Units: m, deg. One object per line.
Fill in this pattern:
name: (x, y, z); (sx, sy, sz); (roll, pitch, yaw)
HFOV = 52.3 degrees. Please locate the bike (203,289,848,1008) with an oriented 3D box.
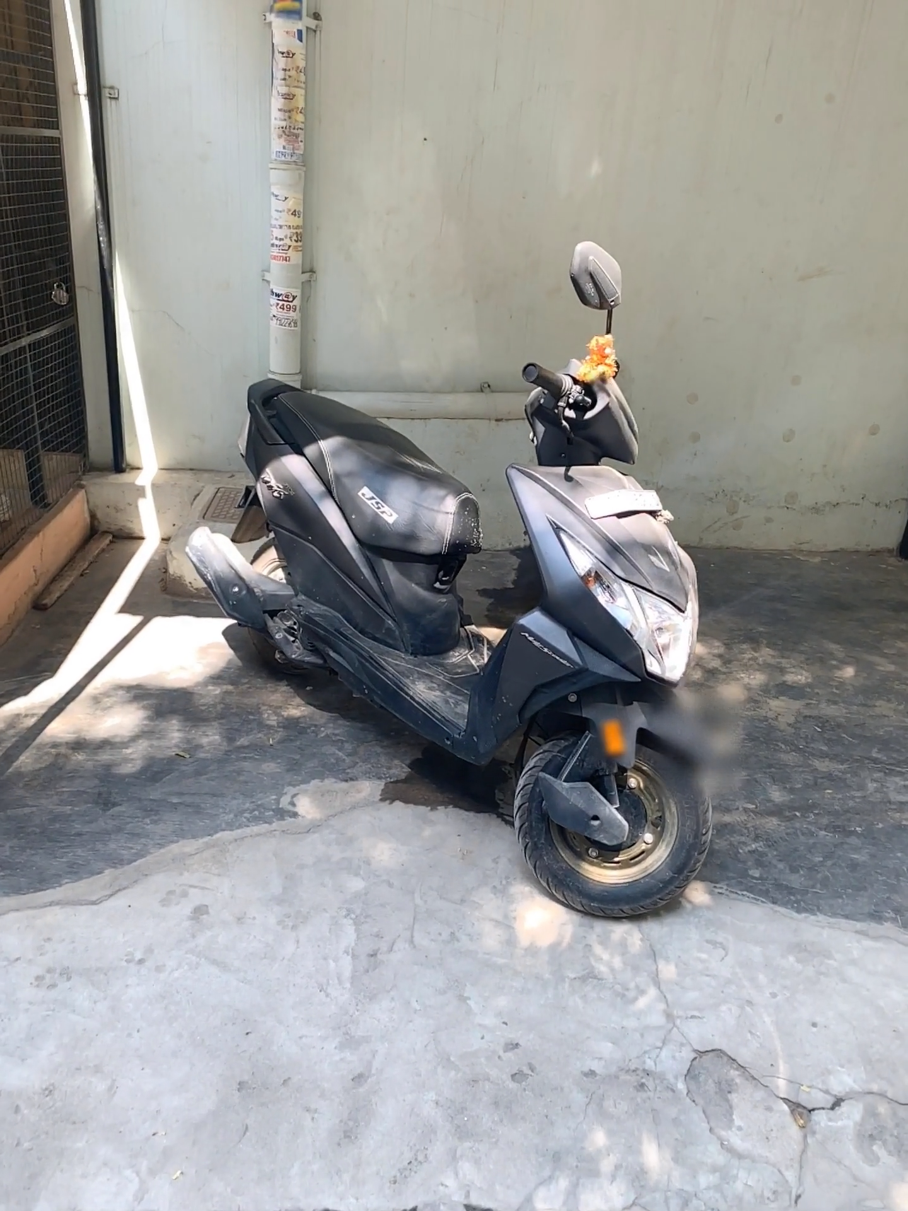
bike: (0.032, -0.015, 2.434); (1.512, 1.278, 0.503); (26, 32, 35)
